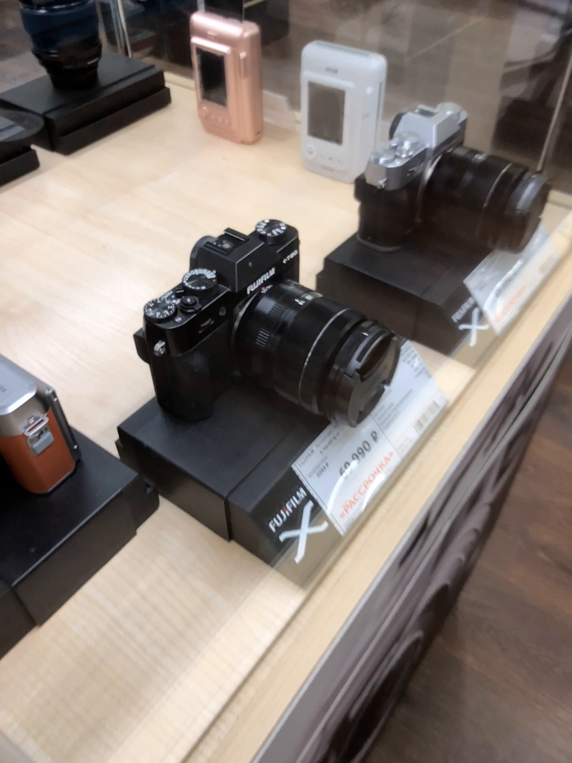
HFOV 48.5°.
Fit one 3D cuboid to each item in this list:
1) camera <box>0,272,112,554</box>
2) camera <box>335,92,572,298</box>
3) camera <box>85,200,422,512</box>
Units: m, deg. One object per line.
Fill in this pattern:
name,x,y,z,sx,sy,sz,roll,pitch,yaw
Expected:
camera,-0.163,0.010,0.317,0.122,0.063,0.075,27,51,25
camera,0.126,-0.146,0.477,0.124,0.072,0.130,27,51,25
camera,-0.016,-0.023,0.363,0.130,0.080,0.122,29,52,26
